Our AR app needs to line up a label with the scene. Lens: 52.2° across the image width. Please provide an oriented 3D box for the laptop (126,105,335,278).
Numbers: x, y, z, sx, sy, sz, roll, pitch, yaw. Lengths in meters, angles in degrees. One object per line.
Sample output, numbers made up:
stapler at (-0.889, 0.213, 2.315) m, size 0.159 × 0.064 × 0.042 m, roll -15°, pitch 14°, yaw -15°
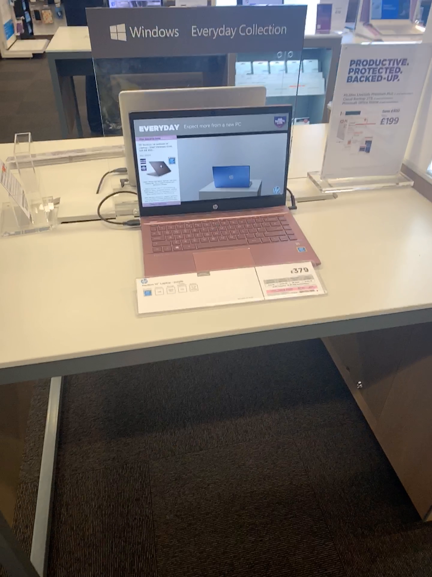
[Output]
laptop at (0.006, -0.189, 0.811) m, size 0.312 × 0.200 × 0.251 m, roll -5°, pitch 39°, yaw -9°

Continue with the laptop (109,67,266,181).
laptop at (-0.079, -0.410, 1.078) m, size 0.324 × 0.186 × 0.245 m, roll -7°, pitch 38°, yaw -10°
